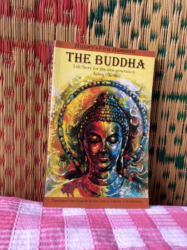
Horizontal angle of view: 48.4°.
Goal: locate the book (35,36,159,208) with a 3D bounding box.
[{"bbox_3d":[0.007,-0.002,0.276,0.146,0.207,0.030,4,-3,-8],"label":"book"}]
